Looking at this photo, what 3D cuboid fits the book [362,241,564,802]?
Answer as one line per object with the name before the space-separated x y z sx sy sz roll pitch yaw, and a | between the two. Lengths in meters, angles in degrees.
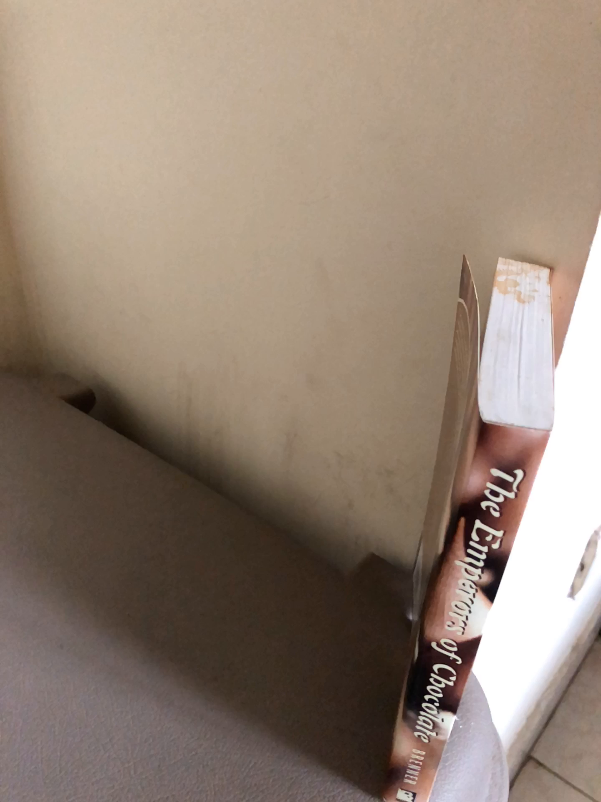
book | 0.072 0.051 0.307 0.040 0.199 0.161 10 32 12
